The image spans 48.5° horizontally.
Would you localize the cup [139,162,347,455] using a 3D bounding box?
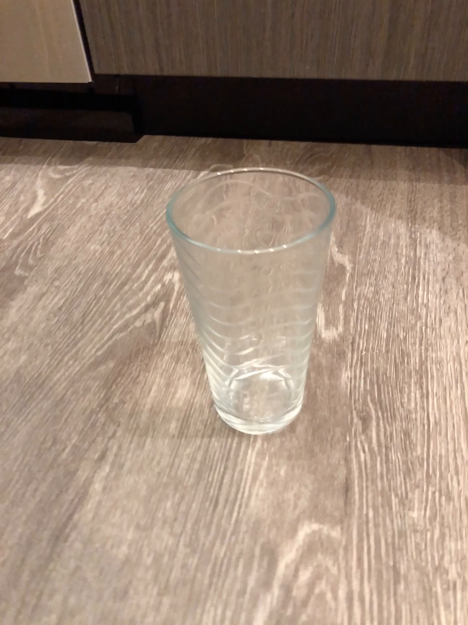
[{"bbox_3d":[0.013,-0.001,0.307,0.090,0.139,0.090,-2,41,2],"label":"cup"}]
